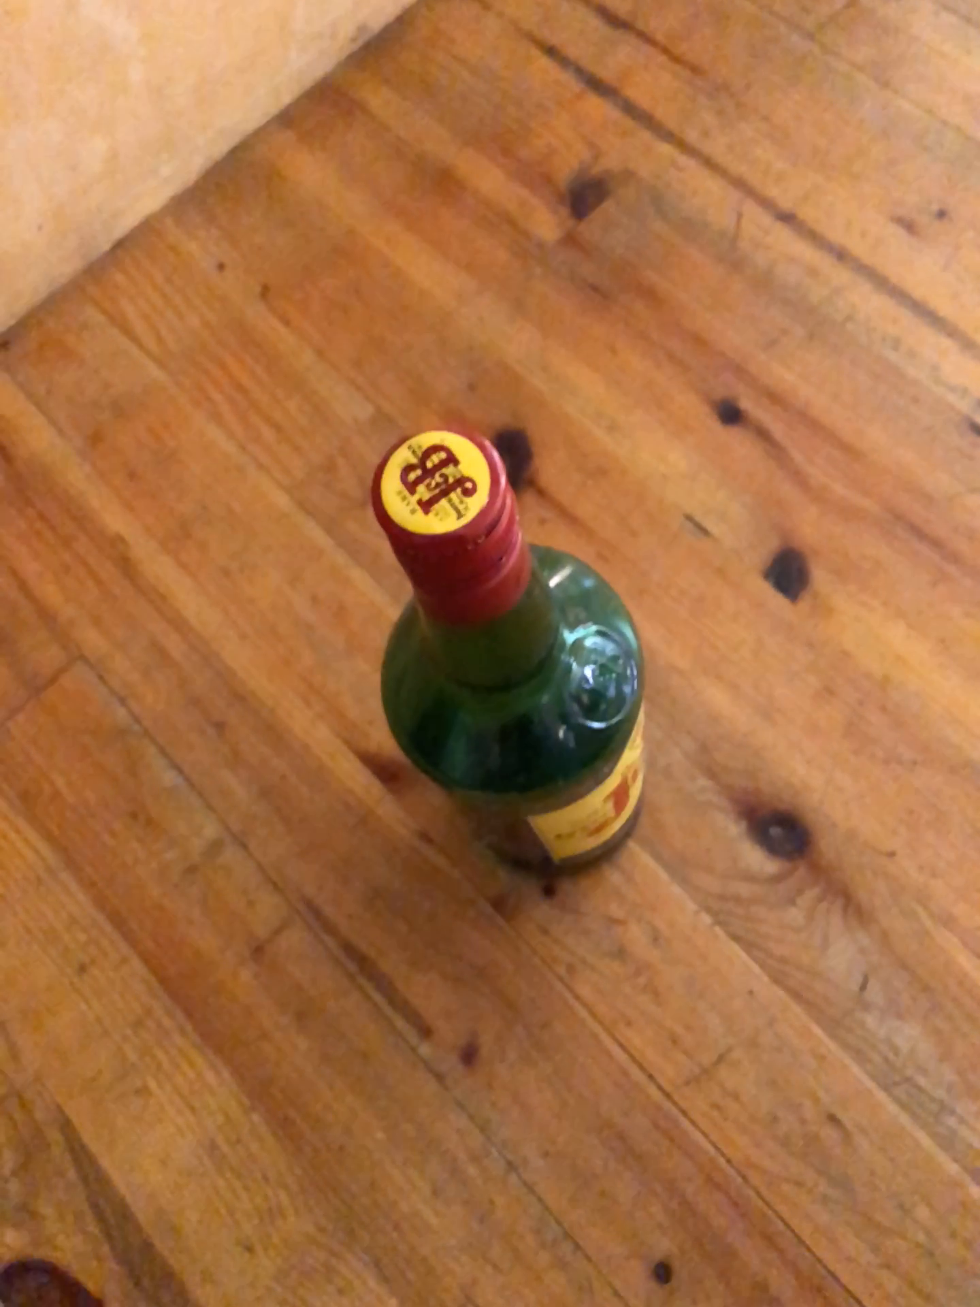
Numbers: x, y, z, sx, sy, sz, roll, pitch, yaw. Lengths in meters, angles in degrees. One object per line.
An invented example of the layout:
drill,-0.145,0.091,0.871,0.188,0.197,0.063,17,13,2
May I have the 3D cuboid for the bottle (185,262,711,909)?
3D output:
bottle,0.012,0.015,0.374,0.080,0.320,0.090,20,76,14
